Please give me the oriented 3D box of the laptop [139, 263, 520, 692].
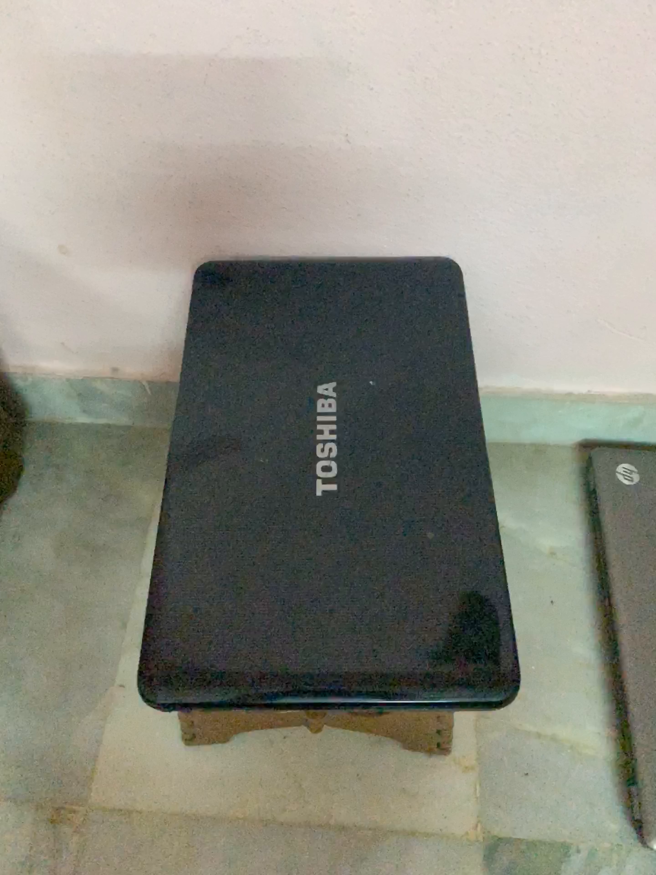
[{"bbox_3d":[0.000,-0.001,0.510,0.236,0.001,0.369,0,58,1],"label":"laptop"}]
